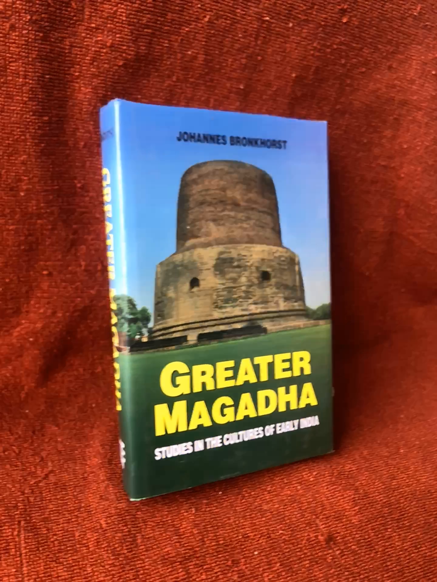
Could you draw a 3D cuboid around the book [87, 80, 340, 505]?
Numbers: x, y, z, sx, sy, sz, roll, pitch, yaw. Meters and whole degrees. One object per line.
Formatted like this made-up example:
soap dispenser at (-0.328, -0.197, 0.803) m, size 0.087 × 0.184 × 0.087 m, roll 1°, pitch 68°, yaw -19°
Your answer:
book at (0.004, -0.001, 0.298) m, size 0.150 × 0.220 × 0.030 m, roll -3°, pitch 4°, yaw -26°
